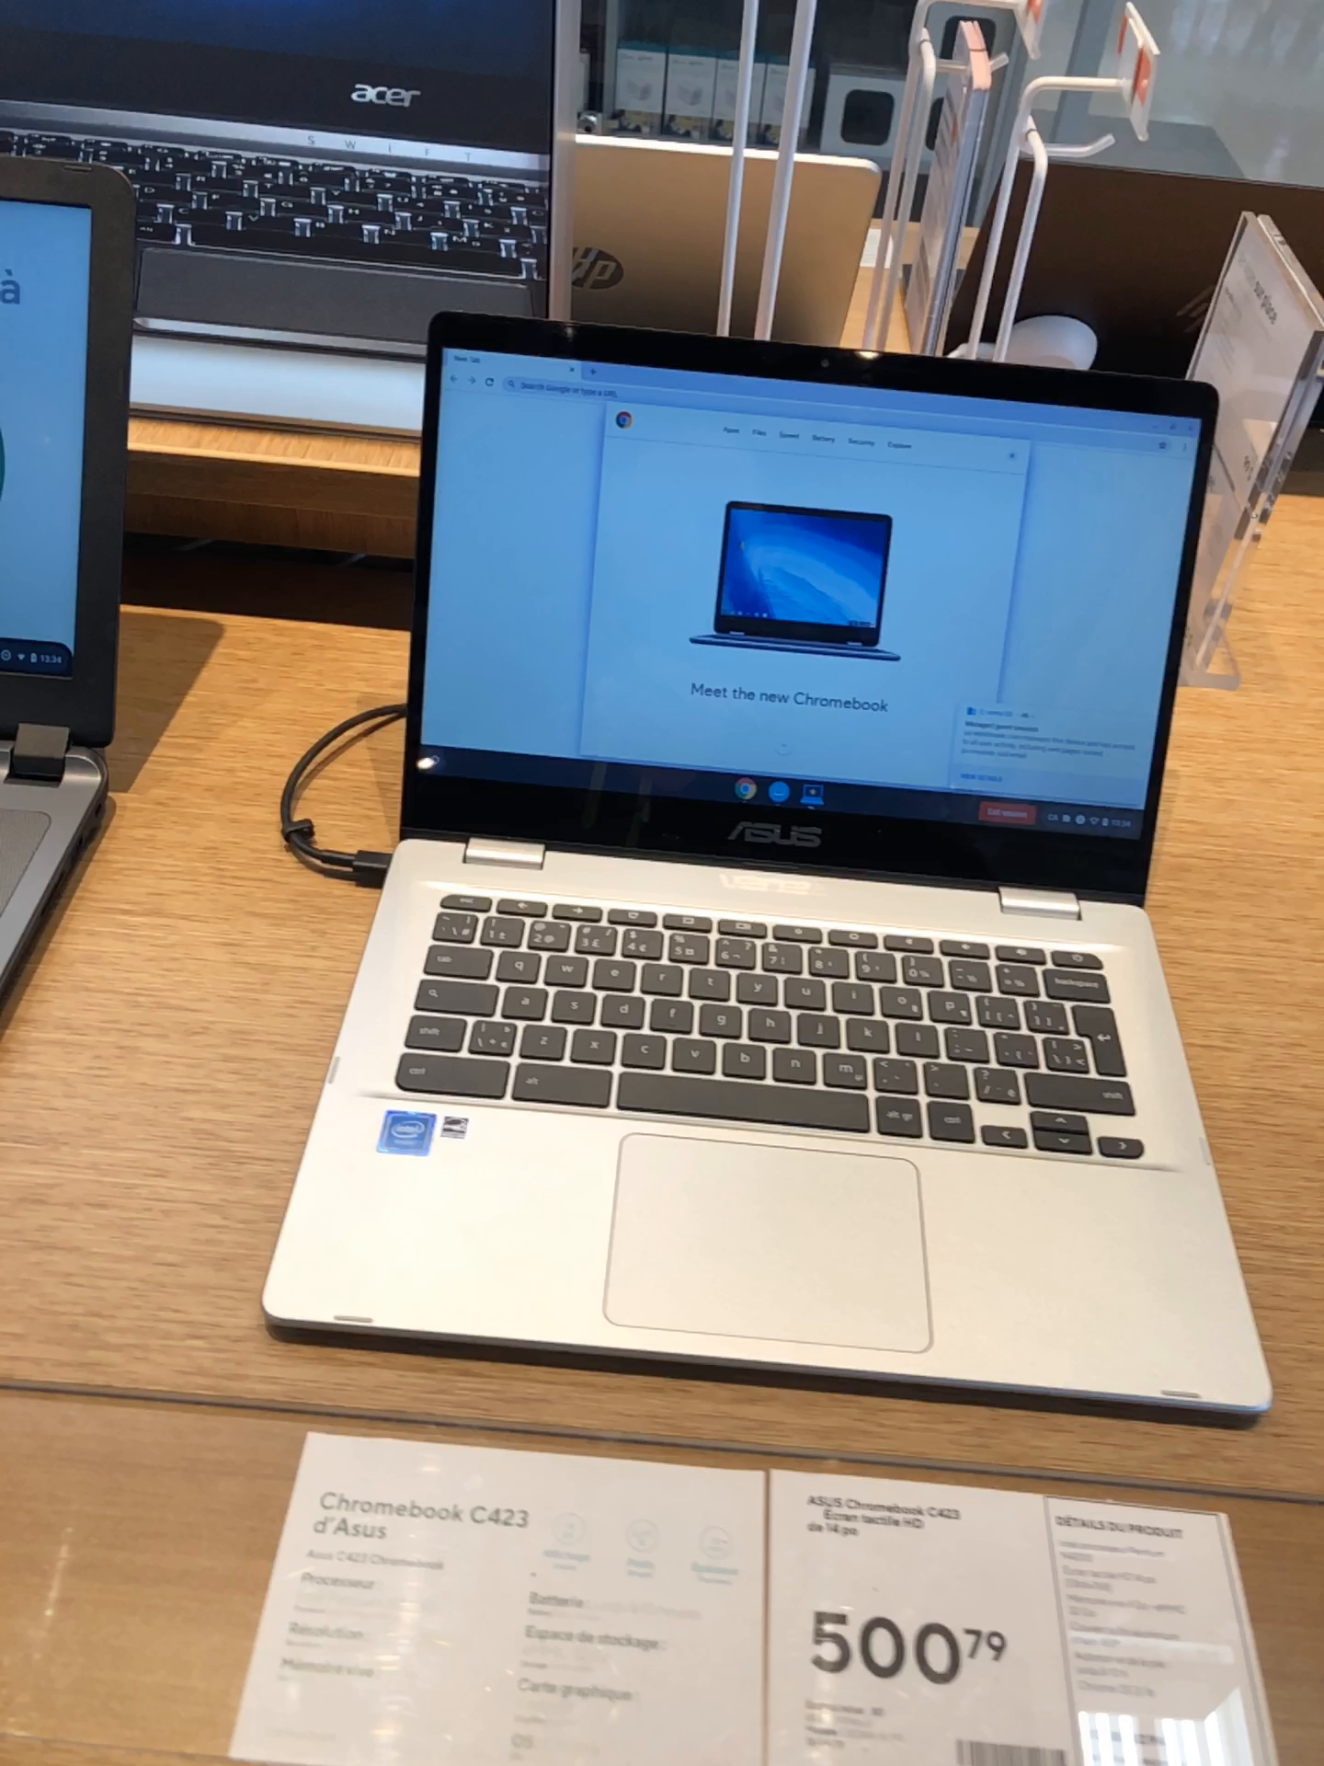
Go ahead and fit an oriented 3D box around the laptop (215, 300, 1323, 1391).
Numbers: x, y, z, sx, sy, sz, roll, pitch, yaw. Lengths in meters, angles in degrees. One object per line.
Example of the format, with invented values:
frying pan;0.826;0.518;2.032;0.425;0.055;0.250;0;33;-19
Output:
laptop;0.035;-0.034;0.512;0.281;0.186;0.337;5;42;-3
